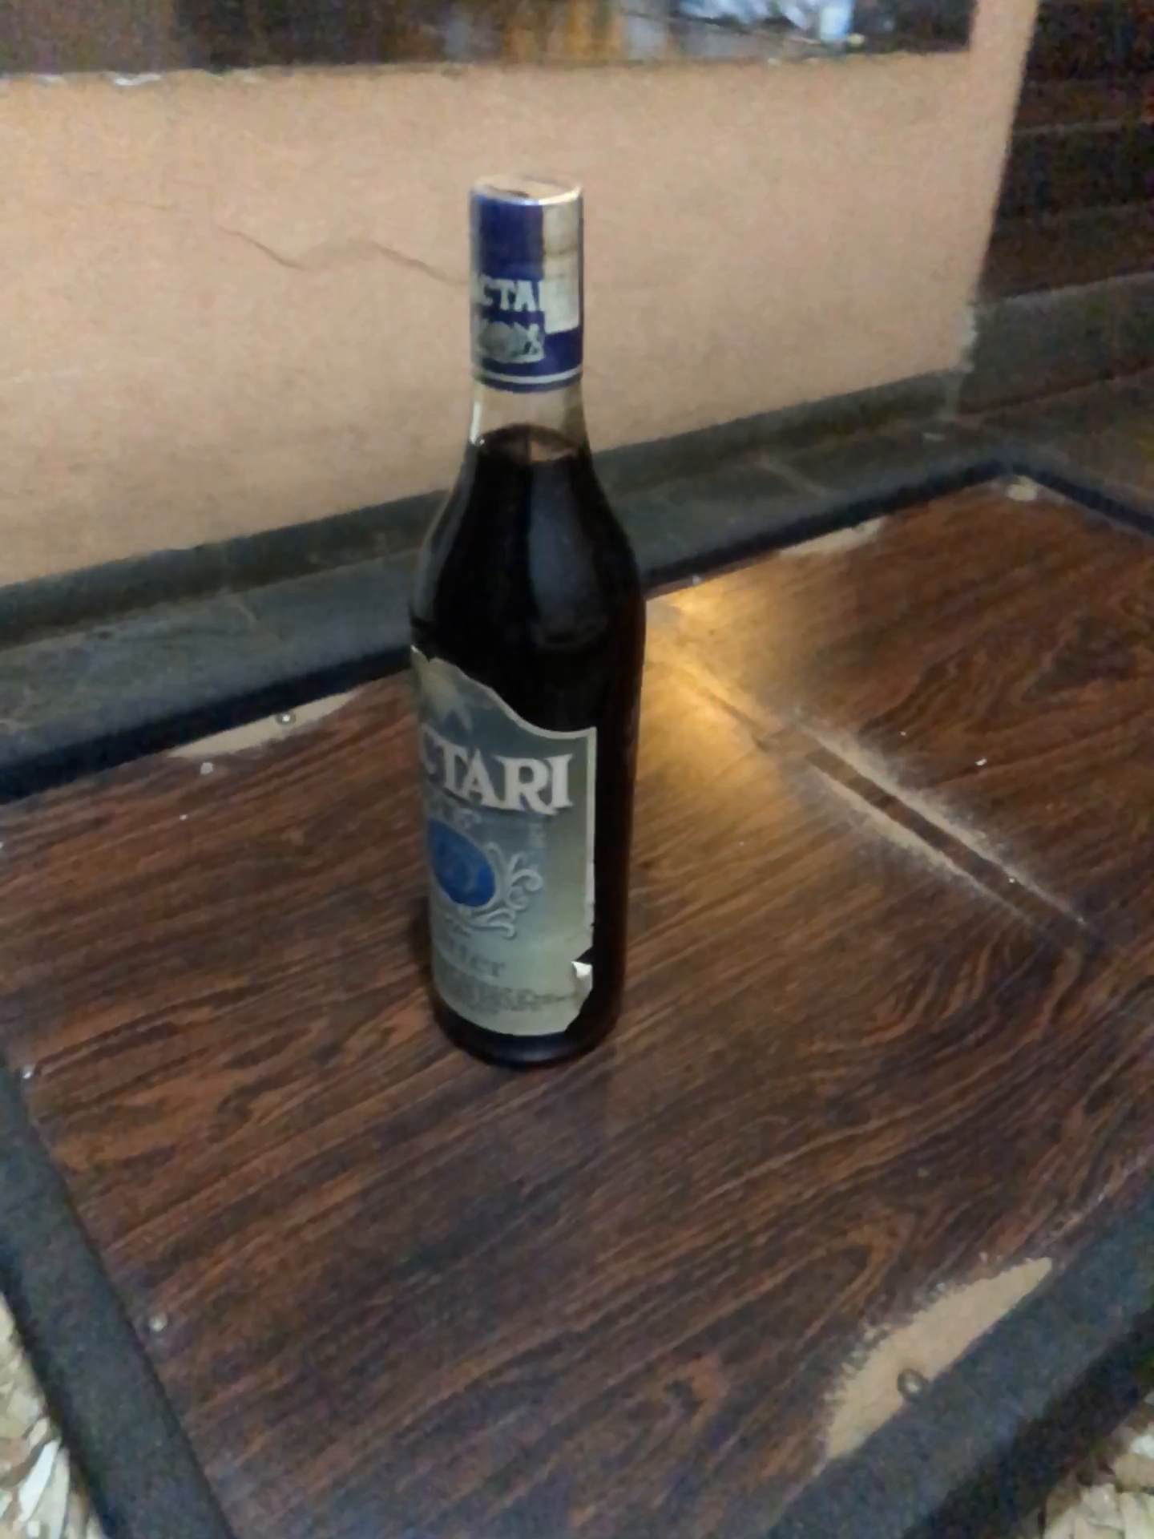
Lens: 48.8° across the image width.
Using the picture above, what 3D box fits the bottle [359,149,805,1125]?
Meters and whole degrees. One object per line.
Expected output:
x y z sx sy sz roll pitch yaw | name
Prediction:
-0.007 -0.030 0.429 0.080 0.308 0.090 -26 45 -35 | bottle
